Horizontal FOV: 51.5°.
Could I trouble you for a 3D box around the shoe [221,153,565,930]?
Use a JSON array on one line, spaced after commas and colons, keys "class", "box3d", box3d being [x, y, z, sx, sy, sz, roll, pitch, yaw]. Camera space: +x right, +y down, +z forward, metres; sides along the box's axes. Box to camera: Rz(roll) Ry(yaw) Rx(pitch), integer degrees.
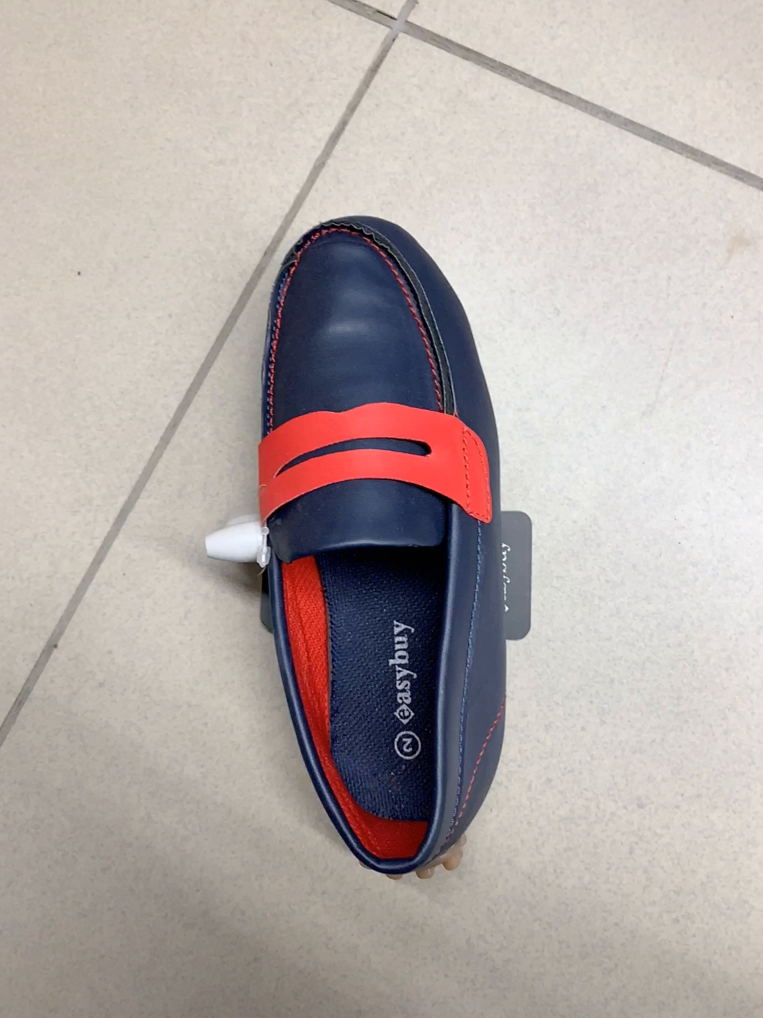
[{"class": "shoe", "box3d": [0.002, 0.007, 0.232, 0.080, 0.050, 0.200, -4, 84, 5]}]
